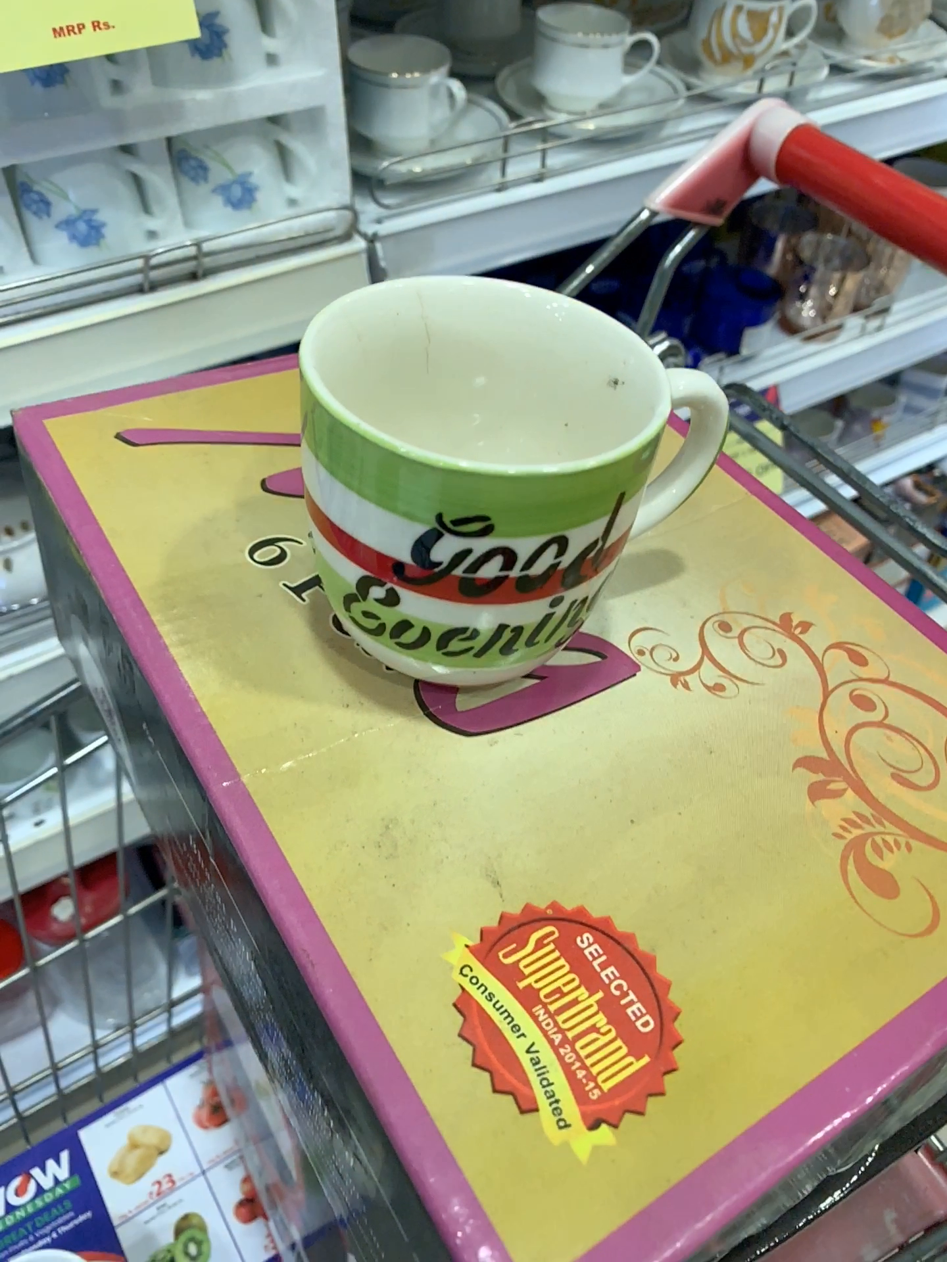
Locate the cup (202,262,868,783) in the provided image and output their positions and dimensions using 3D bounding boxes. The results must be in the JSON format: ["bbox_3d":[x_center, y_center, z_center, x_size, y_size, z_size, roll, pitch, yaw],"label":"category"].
[{"bbox_3d":[0.008,-0.031,0.218,0.110,0.060,0.080,-15,46,-22],"label":"cup"}]
